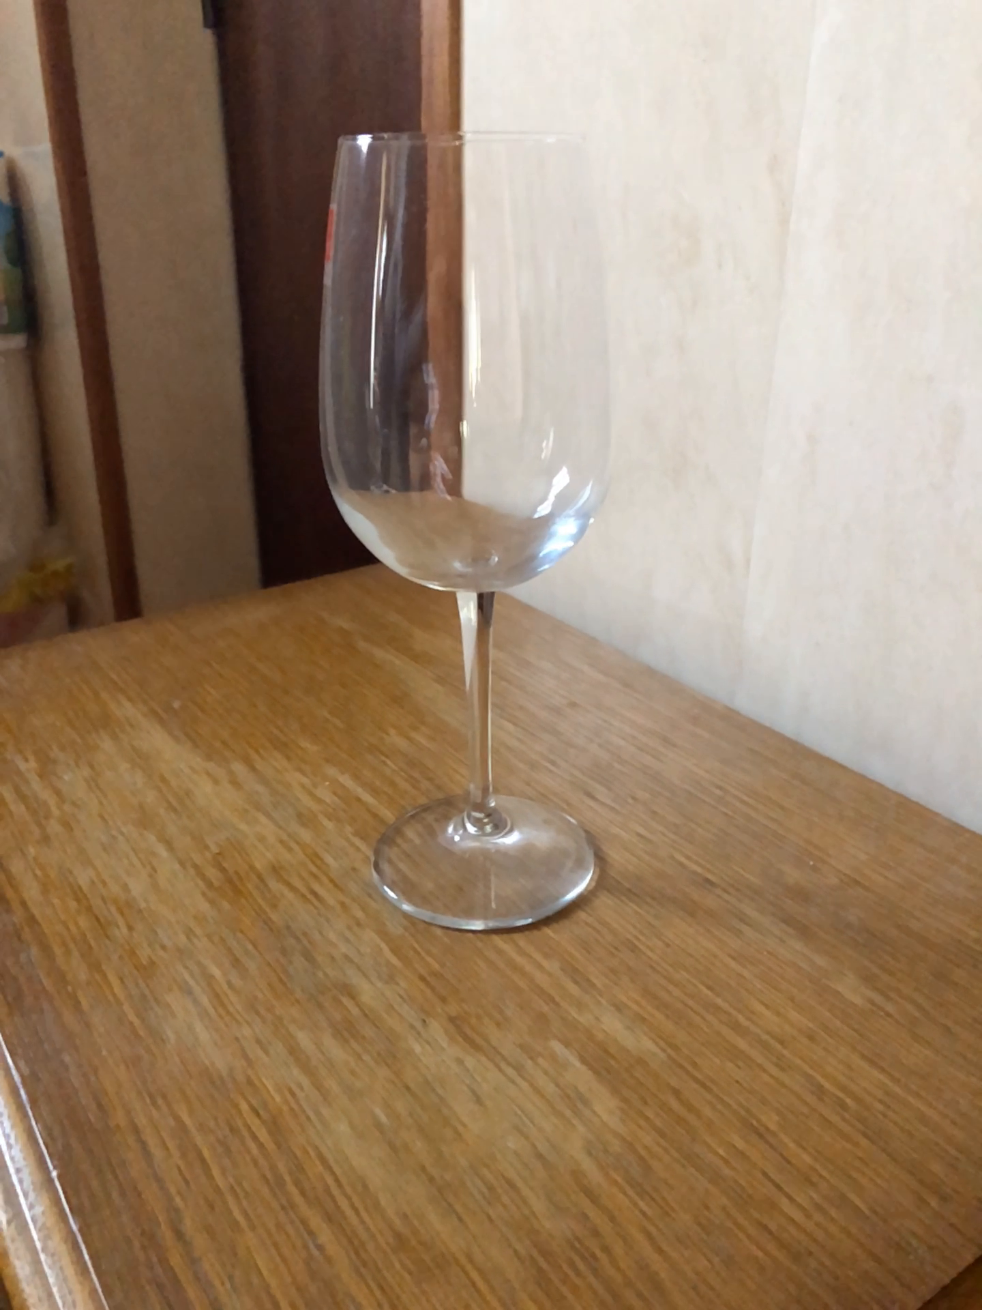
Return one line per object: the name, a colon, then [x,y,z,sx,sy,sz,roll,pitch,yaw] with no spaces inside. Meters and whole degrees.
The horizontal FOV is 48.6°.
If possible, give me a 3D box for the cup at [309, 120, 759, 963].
cup: [0.004,-0.034,0.332,0.100,0.229,0.090,-4,24,-11]
